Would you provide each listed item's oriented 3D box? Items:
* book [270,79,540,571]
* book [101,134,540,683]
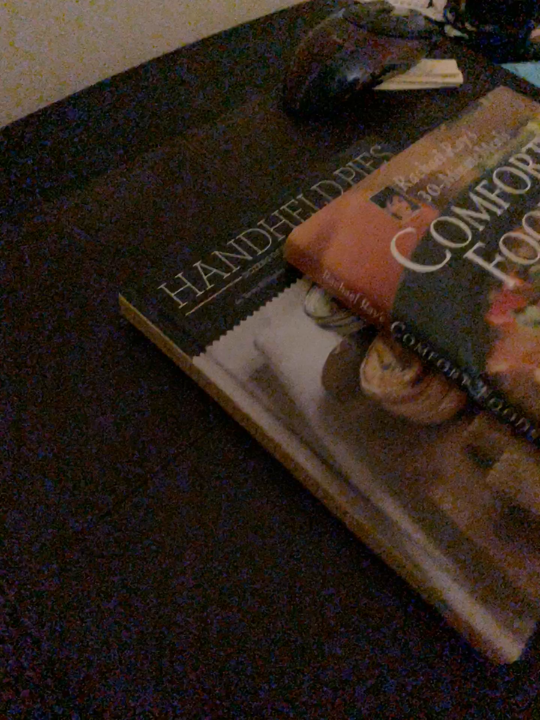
[{"bbox_3d":[0.146,-0.049,0.279,0.211,0.020,0.200,40,62,20],"label":"book"},{"bbox_3d":[0.063,-0.011,0.266,0.221,0.020,0.180,41,63,21],"label":"book"}]
